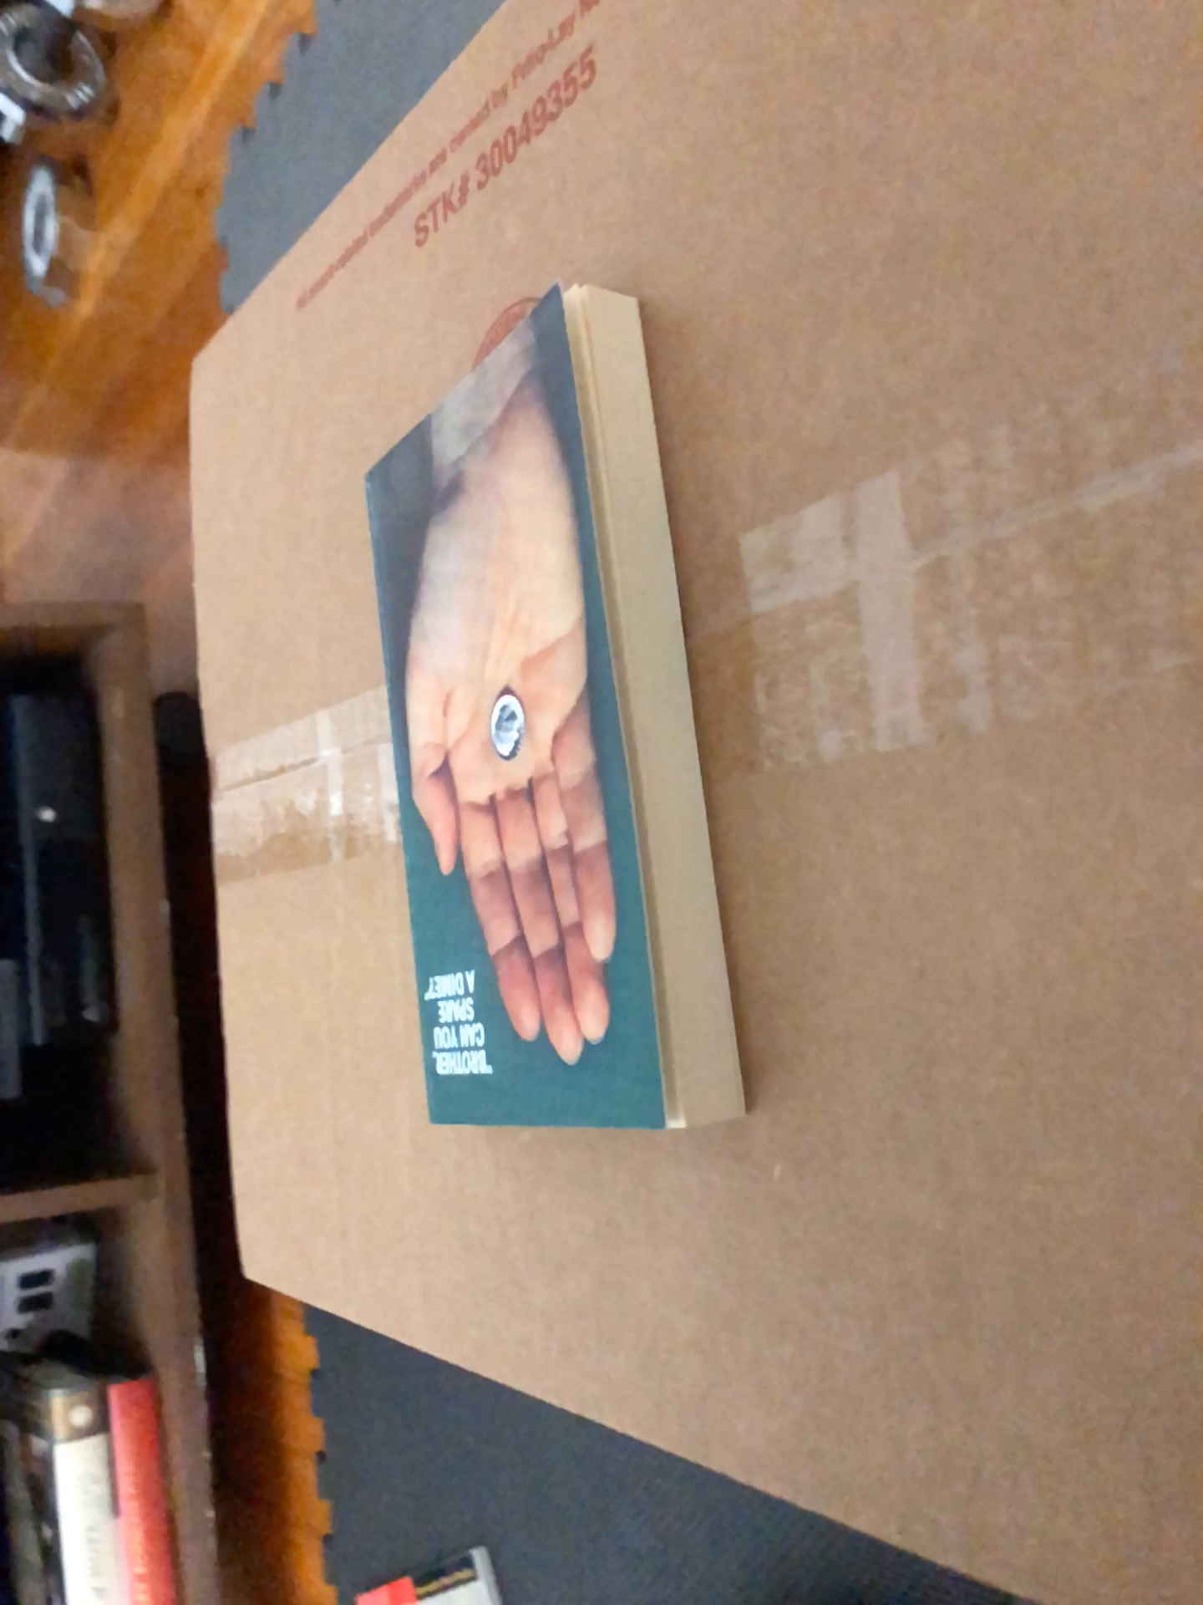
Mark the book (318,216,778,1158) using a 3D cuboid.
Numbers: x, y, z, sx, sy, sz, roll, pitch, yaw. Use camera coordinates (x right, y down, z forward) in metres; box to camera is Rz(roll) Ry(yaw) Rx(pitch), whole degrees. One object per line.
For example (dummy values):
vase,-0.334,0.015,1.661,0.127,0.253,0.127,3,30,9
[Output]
book,-0.021,-0.015,0.301,0.121,0.020,0.180,-18,77,53
